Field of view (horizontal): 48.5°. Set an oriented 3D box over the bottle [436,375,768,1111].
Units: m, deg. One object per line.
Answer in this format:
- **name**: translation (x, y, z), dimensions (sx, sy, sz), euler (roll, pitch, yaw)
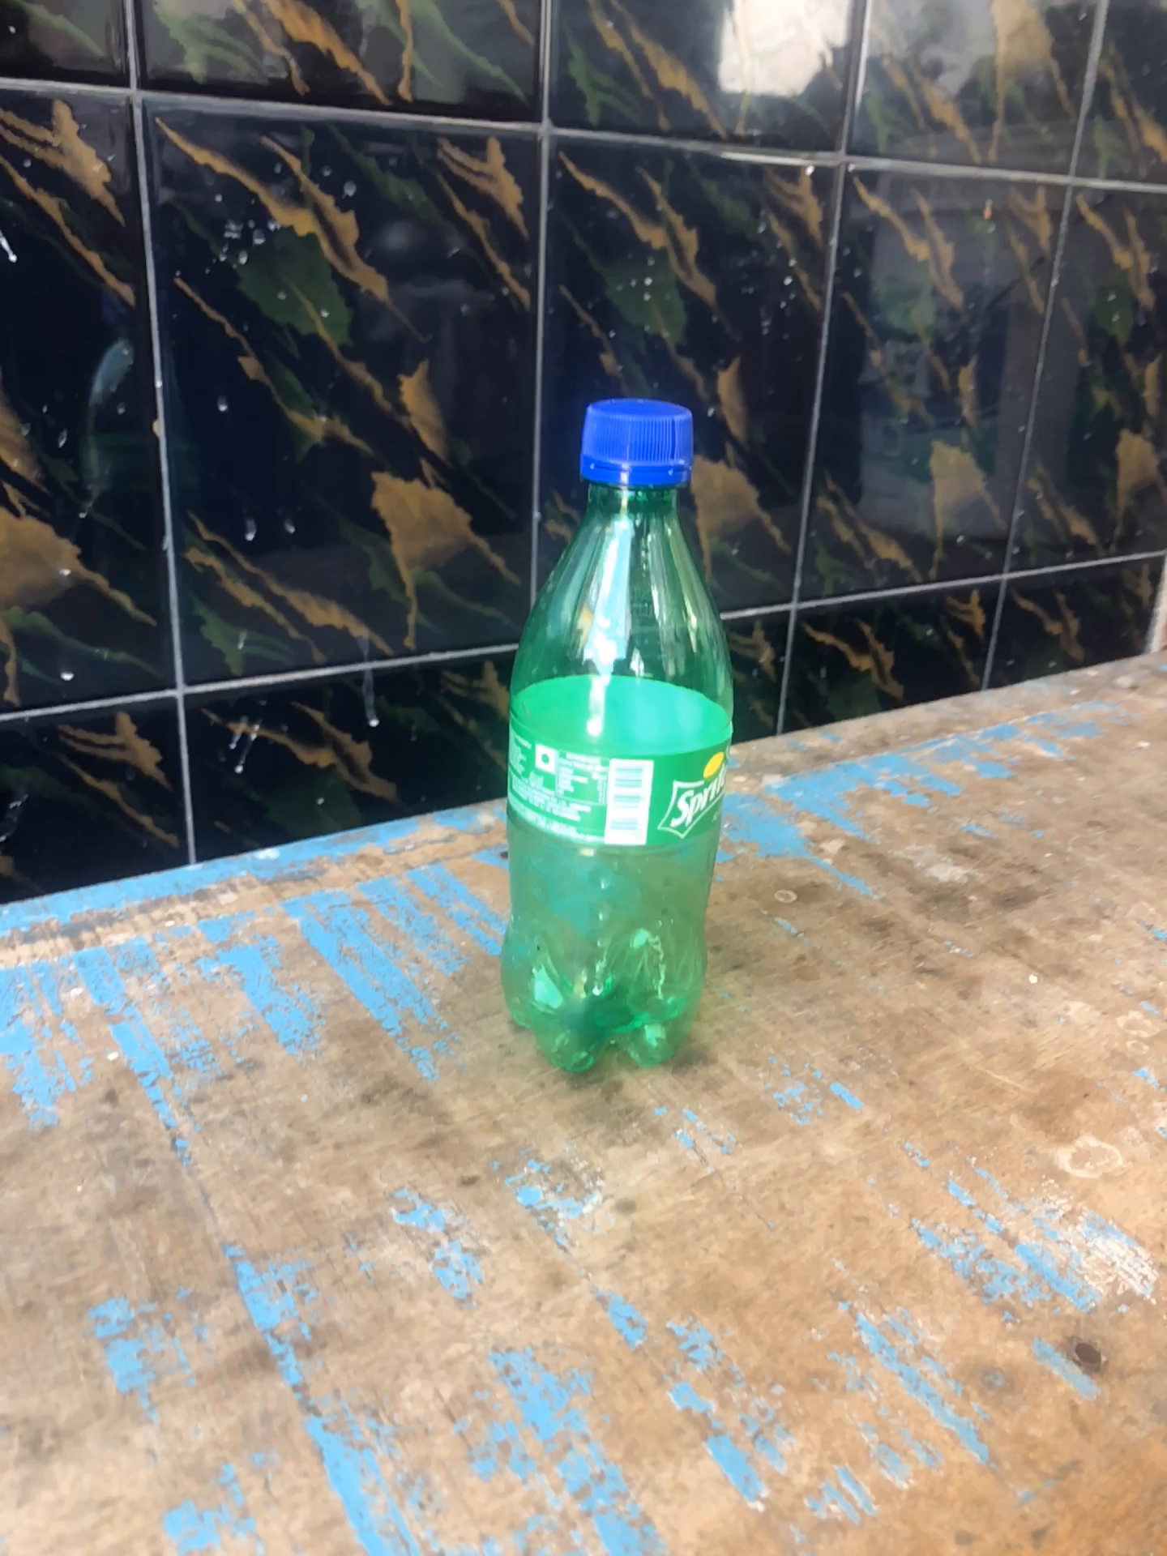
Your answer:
- **bottle**: translation (0.002, -0.010, 0.312), dimensions (0.050, 0.159, 0.060), euler (14, 25, 24)
